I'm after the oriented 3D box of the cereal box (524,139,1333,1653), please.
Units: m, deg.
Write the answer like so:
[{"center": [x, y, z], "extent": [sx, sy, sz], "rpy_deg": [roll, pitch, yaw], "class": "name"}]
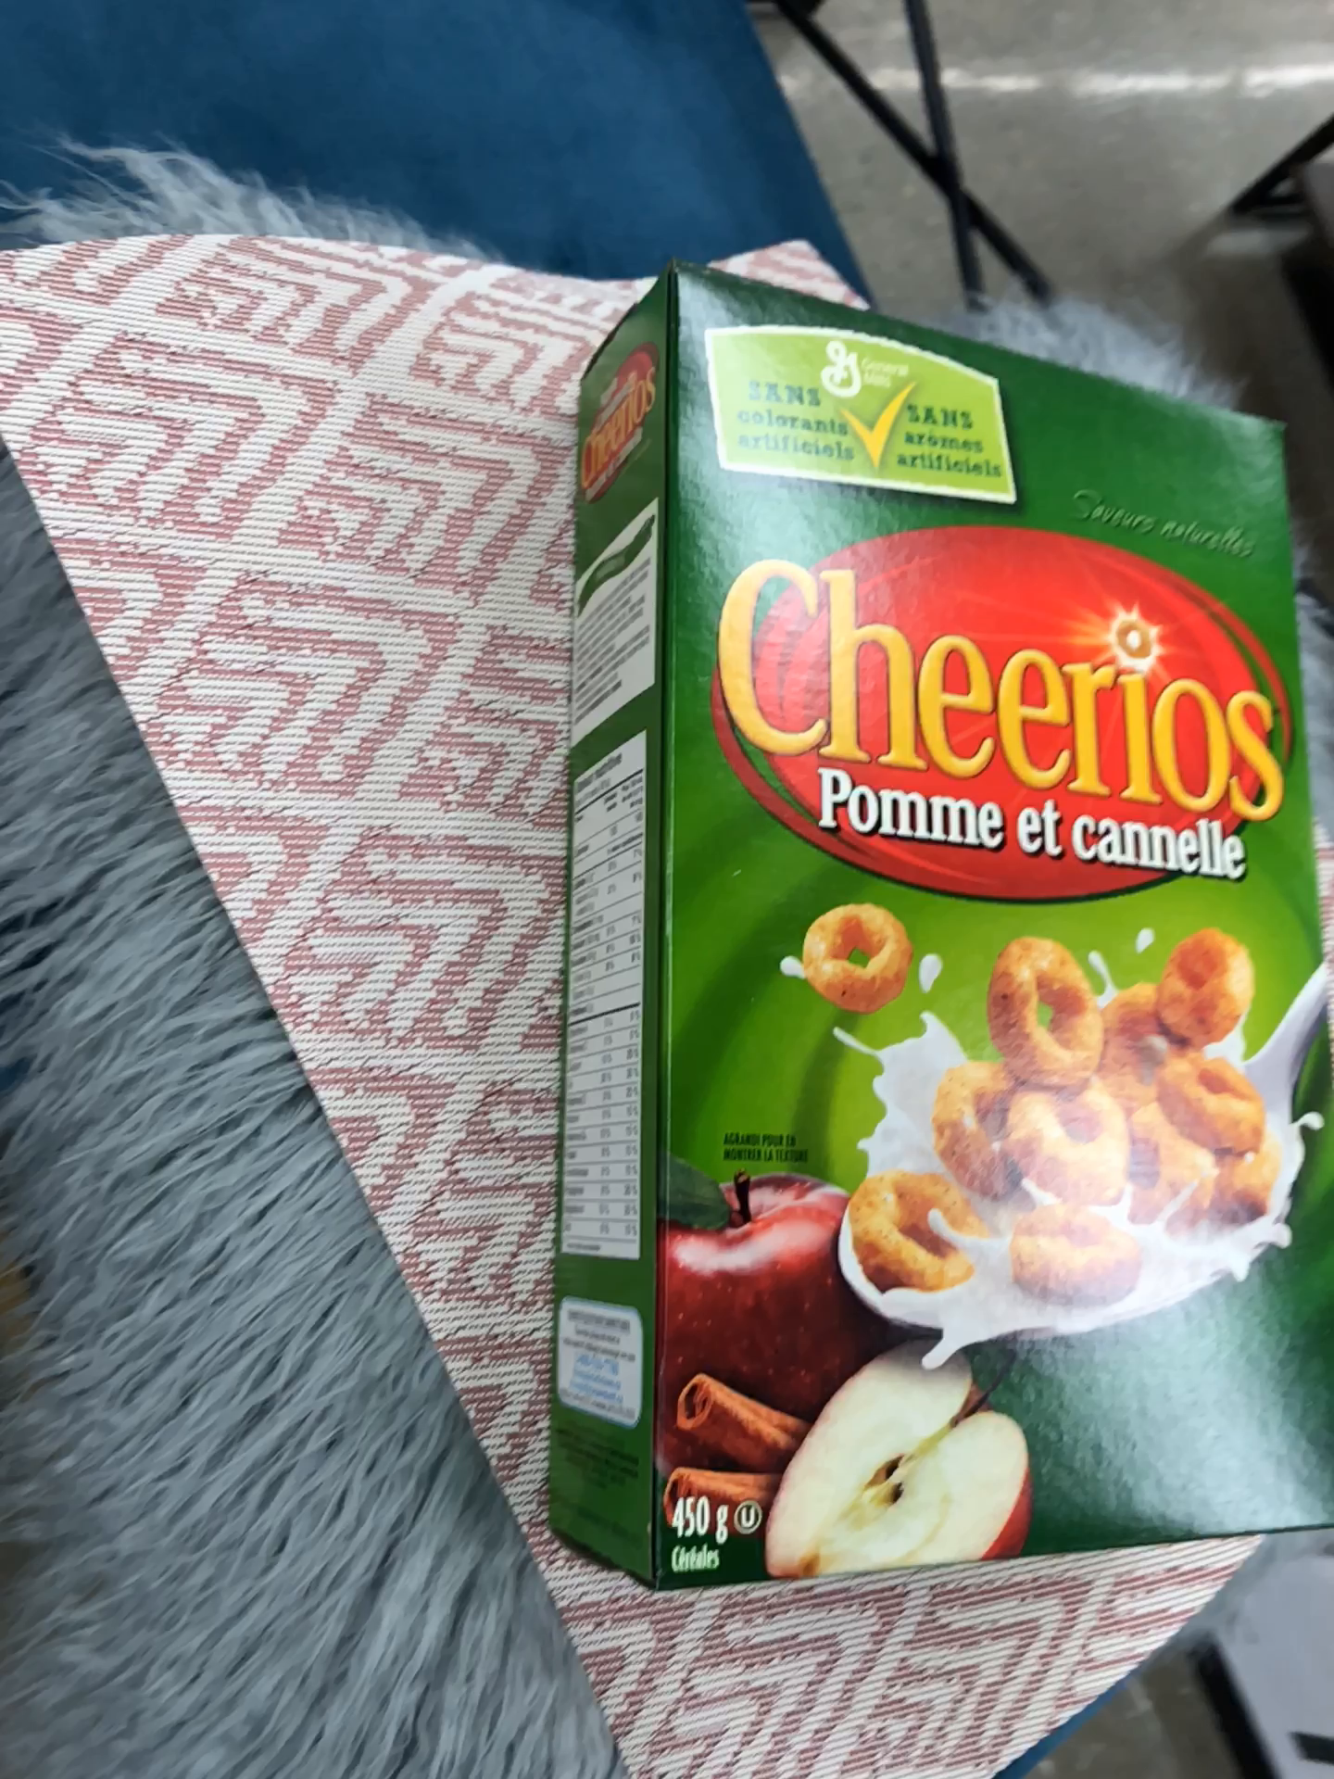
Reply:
[{"center": [0.079, 0.002, 0.378], "extent": [0.211, 0.070, 0.310], "rpy_deg": [6, 79, -27], "class": "cereal box"}]
